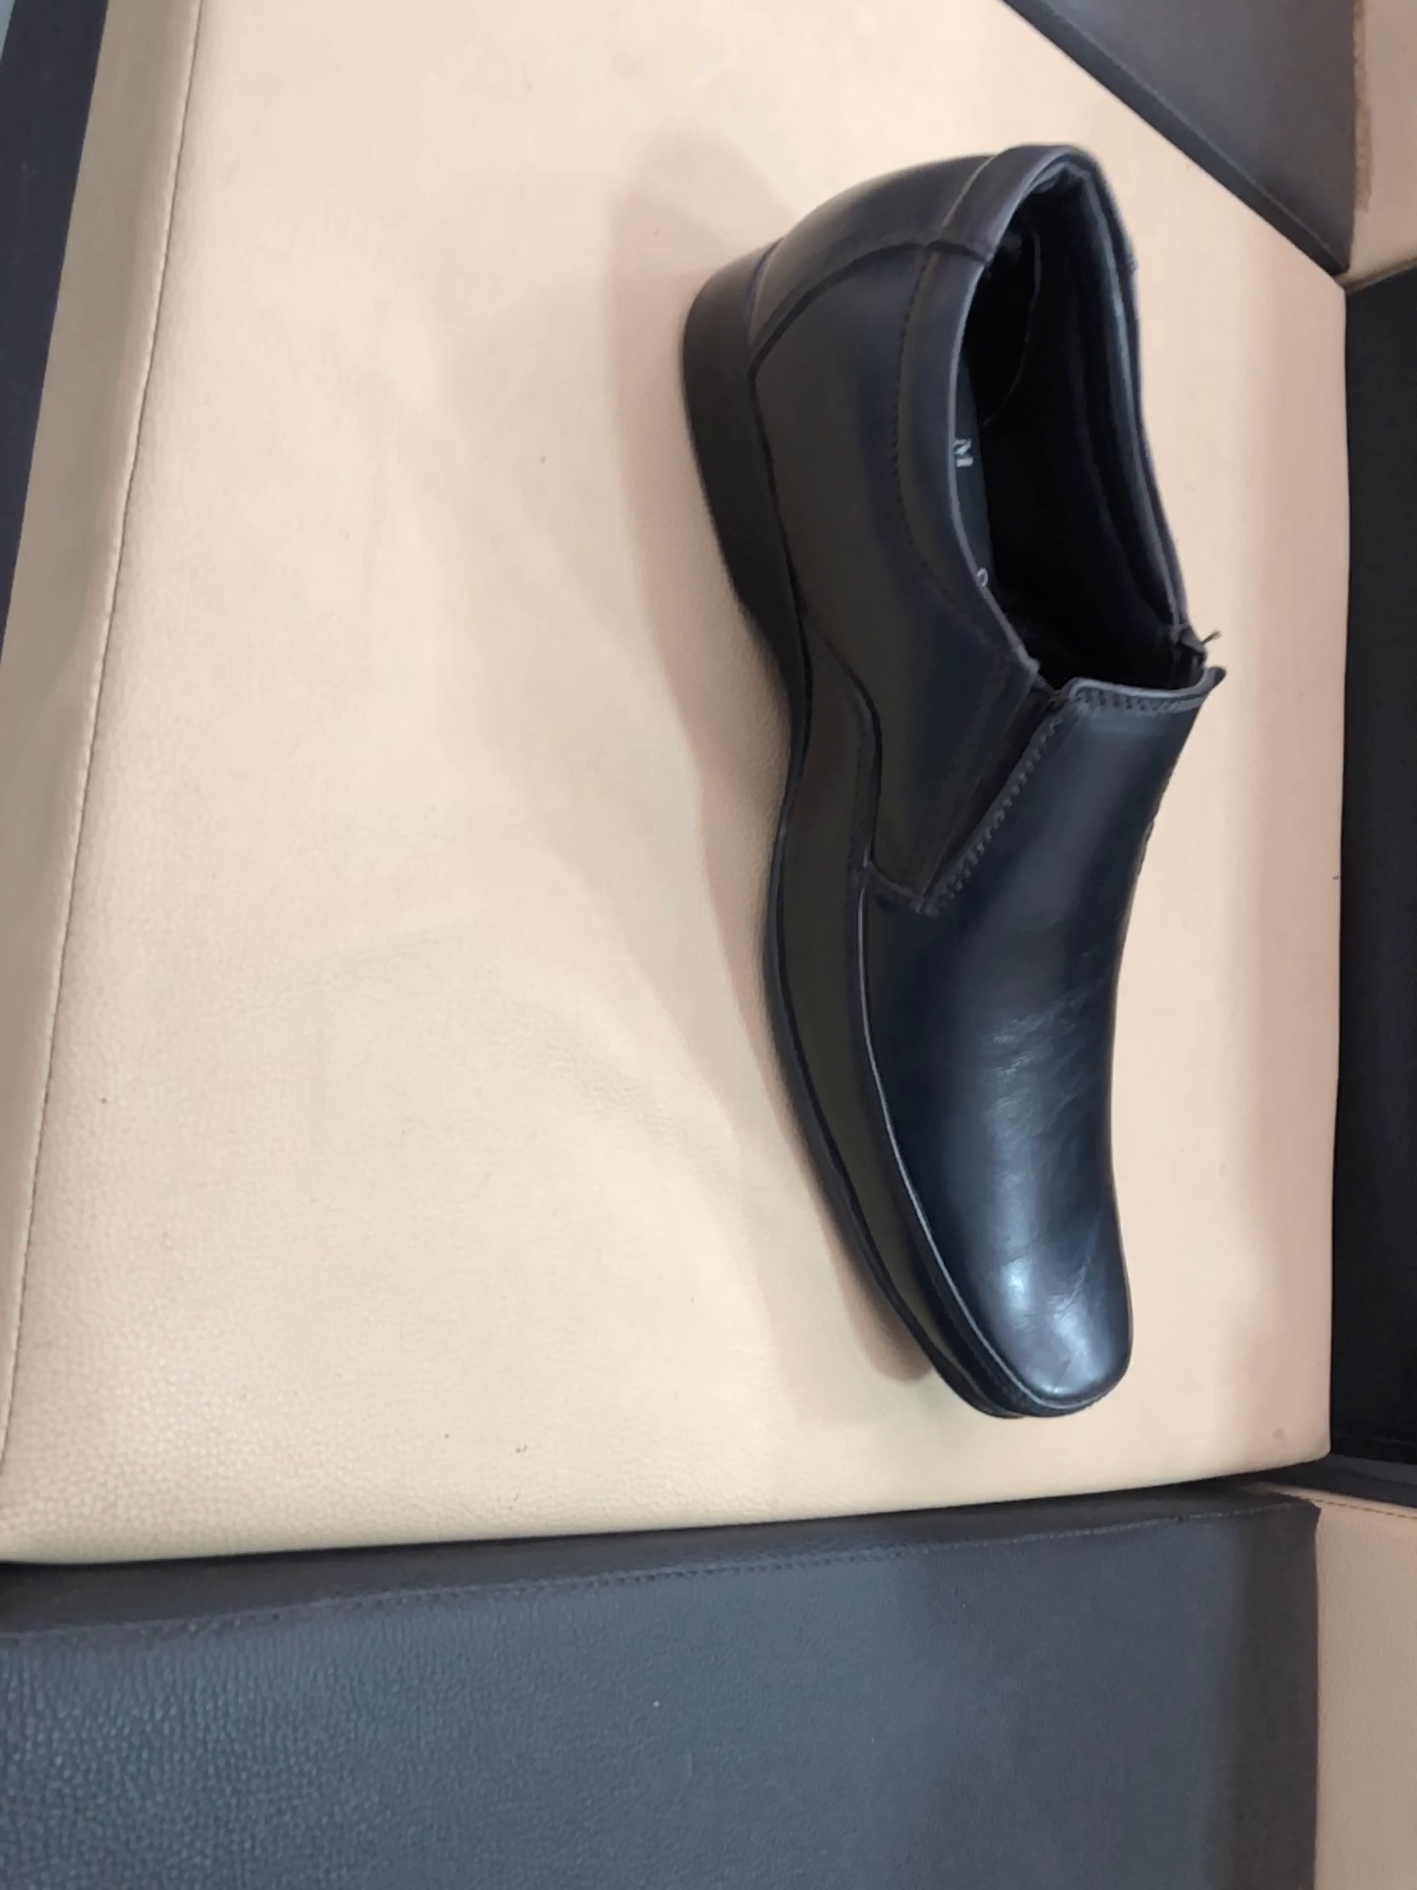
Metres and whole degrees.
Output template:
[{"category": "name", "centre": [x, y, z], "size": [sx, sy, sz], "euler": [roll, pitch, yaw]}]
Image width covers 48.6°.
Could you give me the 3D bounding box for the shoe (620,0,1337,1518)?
[{"category": "shoe", "centre": [0.066, -0.038, 0.369], "size": [0.101, 0.079, 0.300], "euler": [-11, 93, -41]}]
